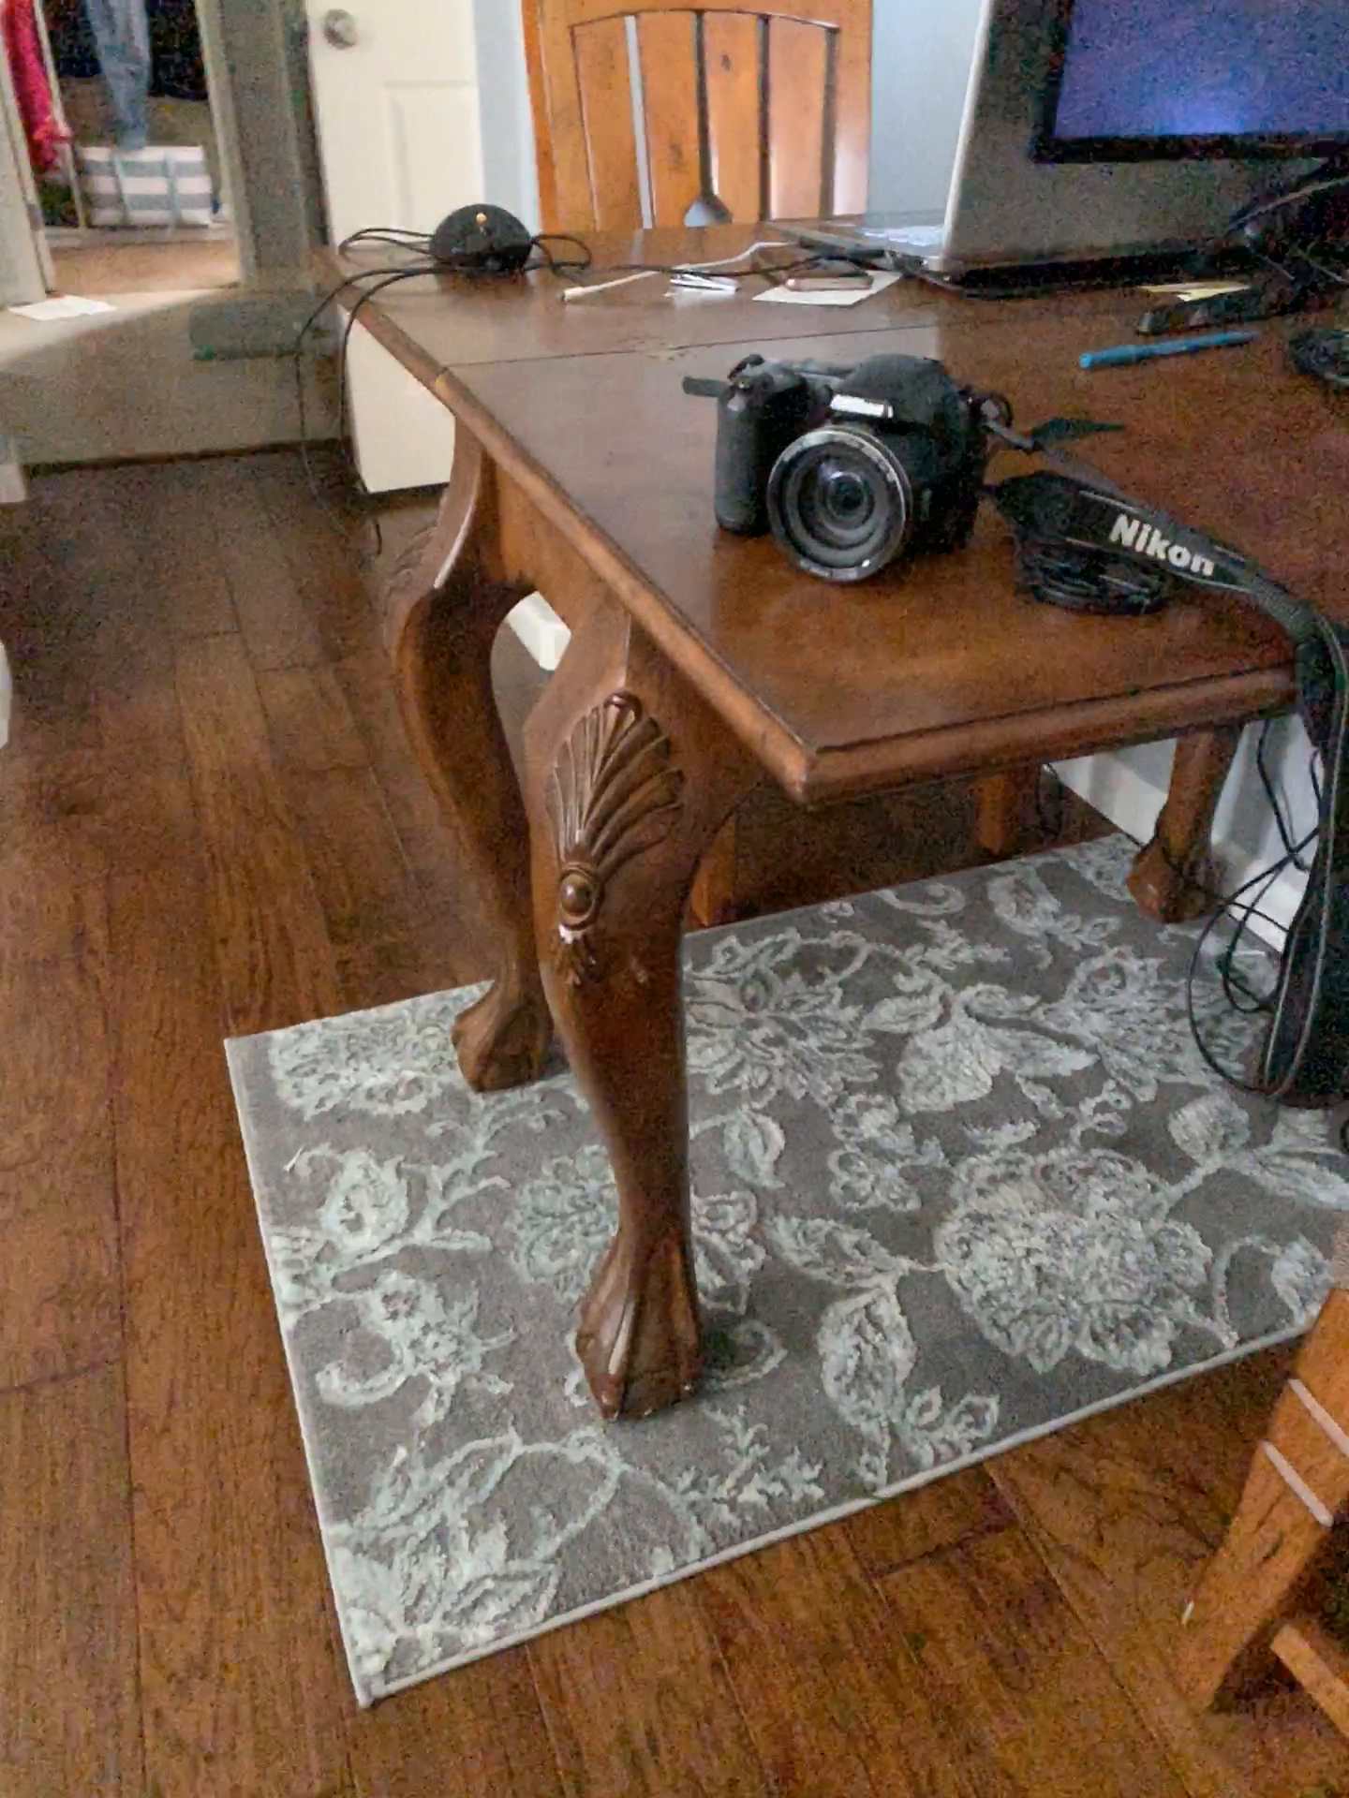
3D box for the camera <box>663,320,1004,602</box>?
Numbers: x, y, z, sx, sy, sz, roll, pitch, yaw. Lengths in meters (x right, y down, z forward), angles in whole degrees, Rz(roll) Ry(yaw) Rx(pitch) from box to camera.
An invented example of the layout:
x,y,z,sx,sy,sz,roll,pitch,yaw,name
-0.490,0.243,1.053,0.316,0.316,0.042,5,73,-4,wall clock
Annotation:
x,y,z,sx,sy,sz,roll,pitch,yaw,name
0.066,-0.190,0.586,0.110,0.079,0.091,19,37,25,camera
